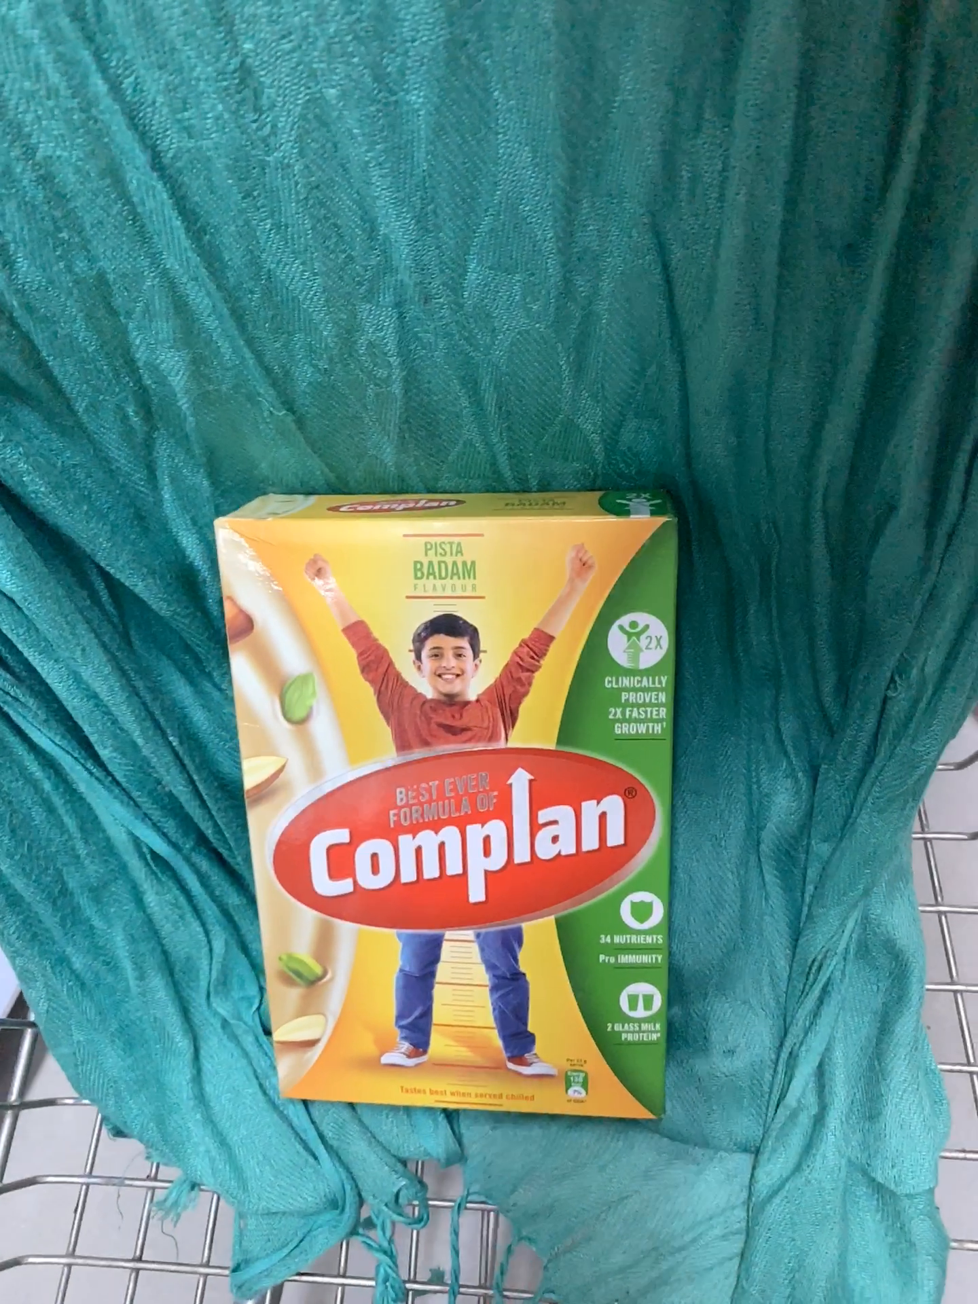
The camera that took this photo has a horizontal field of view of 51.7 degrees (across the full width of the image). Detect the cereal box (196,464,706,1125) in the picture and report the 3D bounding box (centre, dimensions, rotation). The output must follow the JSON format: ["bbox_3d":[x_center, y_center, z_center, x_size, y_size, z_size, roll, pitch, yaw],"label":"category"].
[{"bbox_3d":[-0.004,0.046,0.329,0.140,0.060,0.200,-1,106,7],"label":"cereal box"}]
